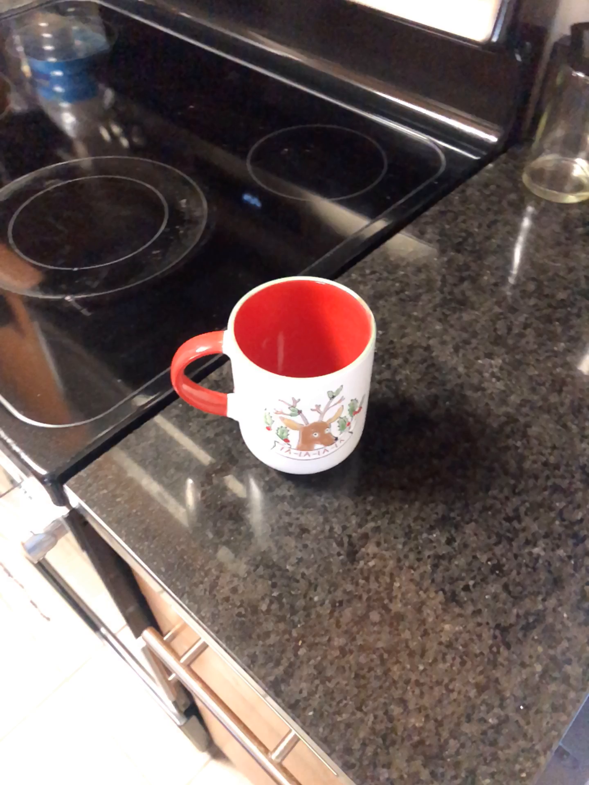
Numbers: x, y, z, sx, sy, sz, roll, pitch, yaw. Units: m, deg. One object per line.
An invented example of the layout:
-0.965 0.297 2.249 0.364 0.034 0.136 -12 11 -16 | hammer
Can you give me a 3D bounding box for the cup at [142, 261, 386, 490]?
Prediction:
-0.018 -0.009 0.418 0.130 0.110 0.090 -3 50 -1 | cup
